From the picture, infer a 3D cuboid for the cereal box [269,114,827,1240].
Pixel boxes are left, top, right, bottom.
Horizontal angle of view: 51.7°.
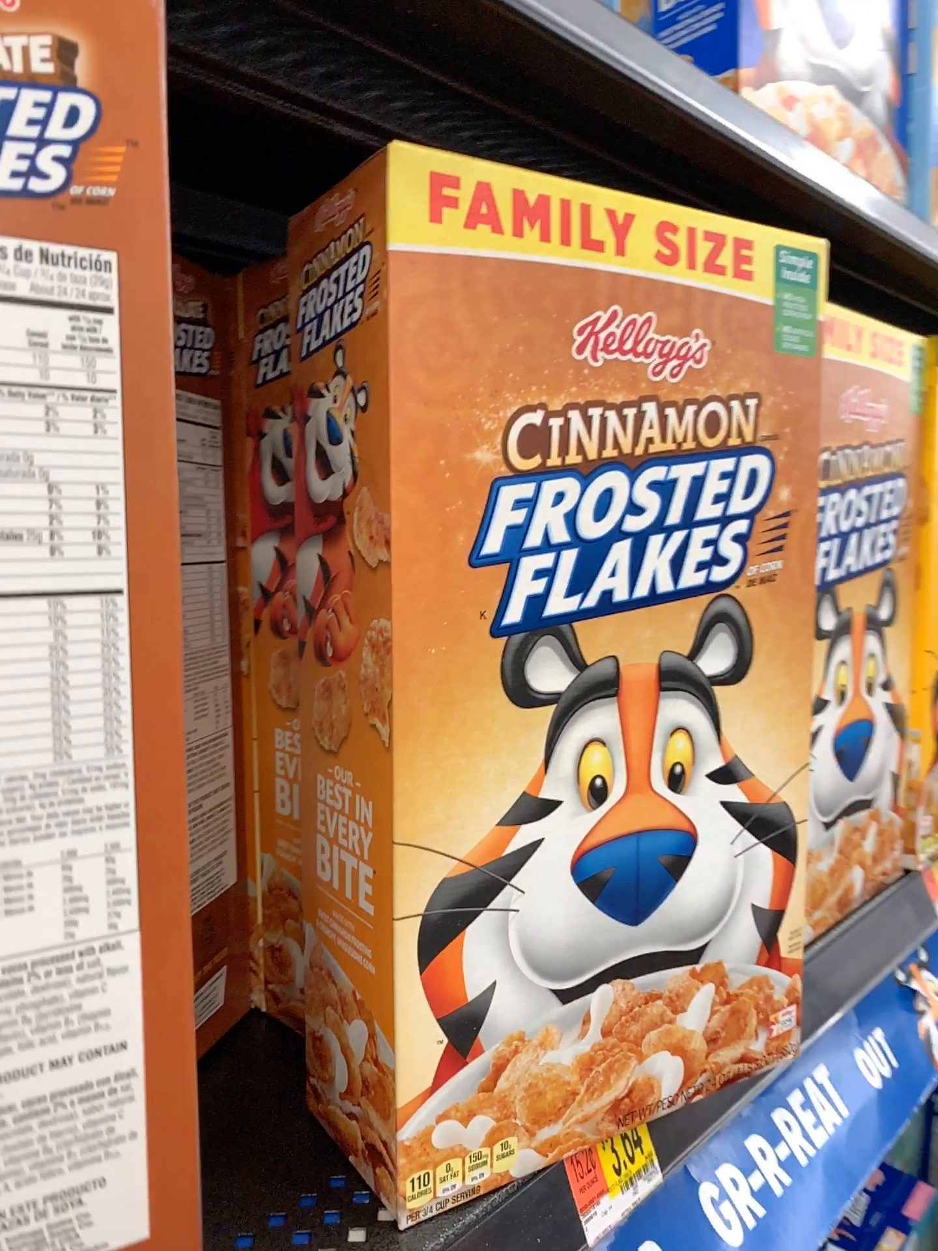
[{"bbox_3d":[0.038,0.014,0.376,0.200,0.340,0.080,-4,4,-30],"label":"cereal box"}]
